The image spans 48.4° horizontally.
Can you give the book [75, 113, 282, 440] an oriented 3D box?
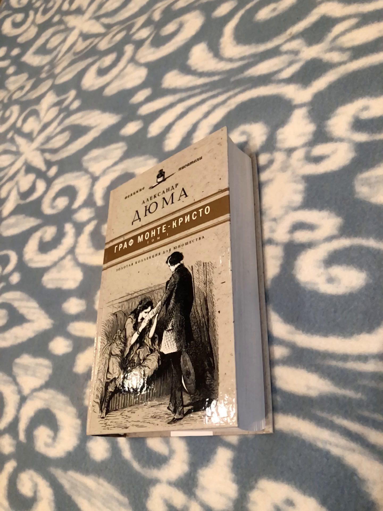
[{"bbox_3d":[-0.014,0.018,0.315,0.138,0.040,0.212,-20,57,35],"label":"book"}]
